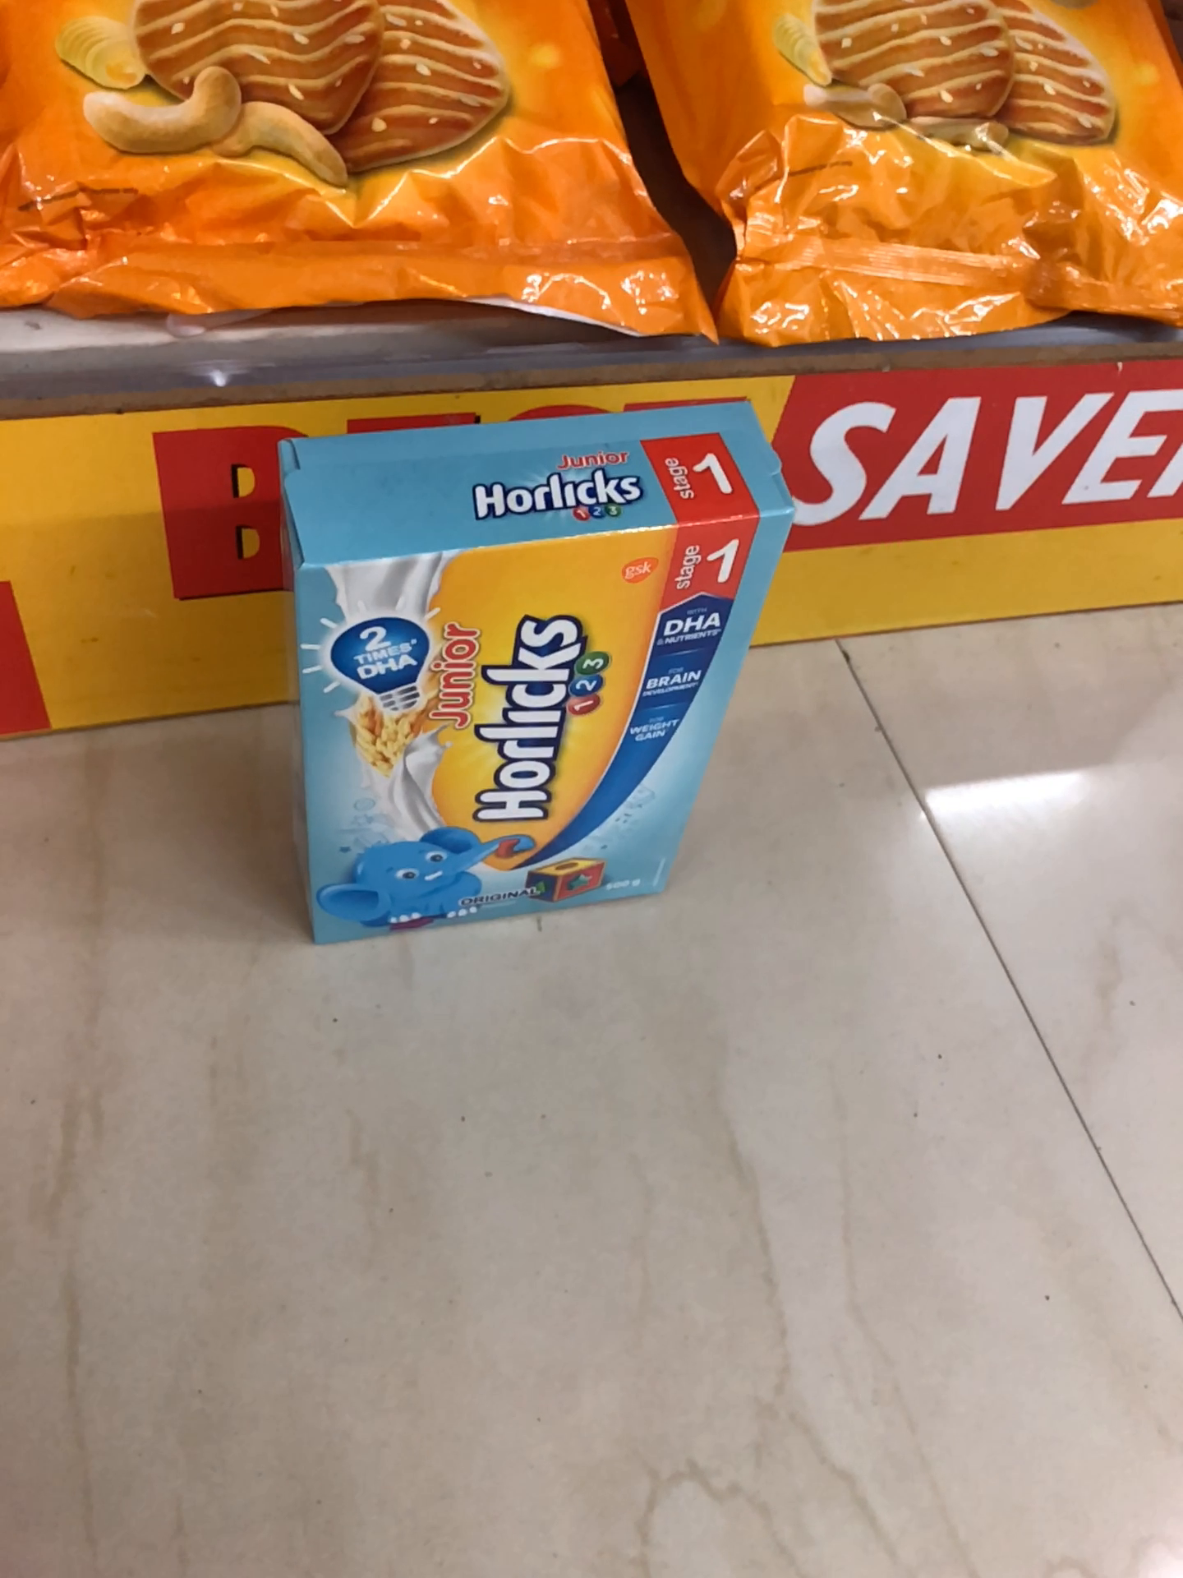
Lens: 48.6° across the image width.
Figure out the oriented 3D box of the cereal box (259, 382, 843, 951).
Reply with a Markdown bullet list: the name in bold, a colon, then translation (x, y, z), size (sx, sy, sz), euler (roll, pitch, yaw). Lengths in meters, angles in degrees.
- **cereal box**: translation (-0.023, -0.027, 0.410), size (0.140, 0.199, 0.050), euler (-7, 57, -14)
